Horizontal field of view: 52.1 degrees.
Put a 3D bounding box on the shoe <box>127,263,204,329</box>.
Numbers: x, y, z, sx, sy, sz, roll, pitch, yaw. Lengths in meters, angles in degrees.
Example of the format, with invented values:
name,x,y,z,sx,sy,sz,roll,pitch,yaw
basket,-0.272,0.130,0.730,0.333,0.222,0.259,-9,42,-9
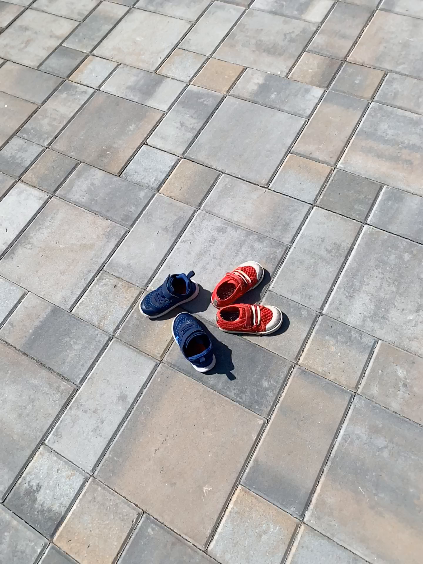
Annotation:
name,x,y,z,sx,sy,sz,roll,pitch,yaw
shoe,-0.115,0.036,1.110,0.170,0.070,0.080,-27,63,-7

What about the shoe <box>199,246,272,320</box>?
name,x,y,z,sx,sy,sz,roll,pitch,yaw
shoe,0.063,0.002,1.098,0.170,0.070,0.080,-39,65,-13

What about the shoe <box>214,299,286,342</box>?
name,x,y,z,sx,sy,sz,roll,pitch,yaw
shoe,0.095,0.097,1.075,0.170,0.070,0.080,-3,63,5

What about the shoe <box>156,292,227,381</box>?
name,x,y,z,sx,sy,sz,roll,pitch,yaw
shoe,-0.049,0.135,1.077,0.090,0.090,0.180,-30,64,-8
